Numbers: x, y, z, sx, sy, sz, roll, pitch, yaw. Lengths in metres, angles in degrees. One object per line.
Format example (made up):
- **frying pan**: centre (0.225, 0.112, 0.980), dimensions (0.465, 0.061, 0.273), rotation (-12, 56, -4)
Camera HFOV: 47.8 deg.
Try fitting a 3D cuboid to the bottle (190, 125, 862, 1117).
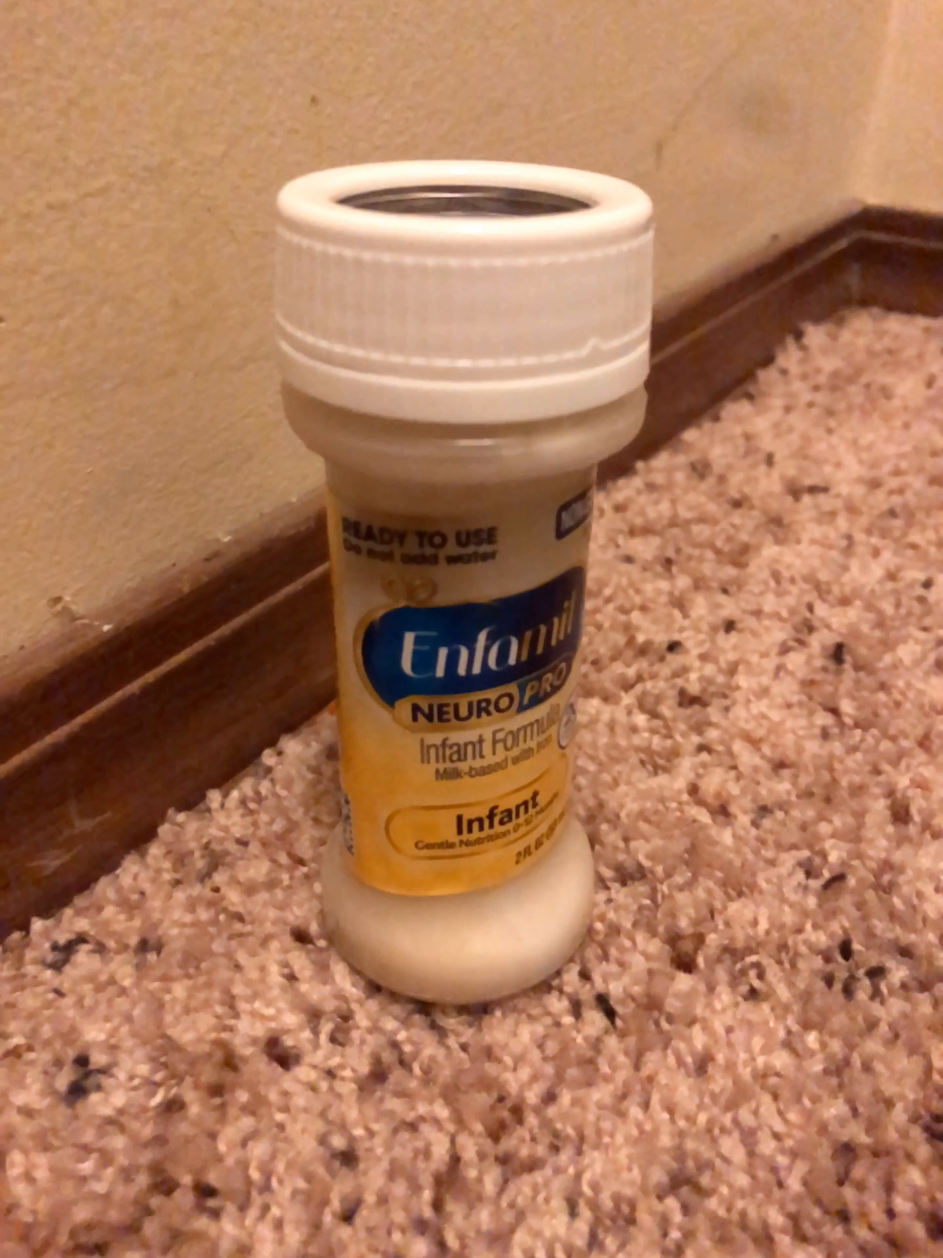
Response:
- **bottle**: centre (0.001, 0.000, 0.137), dimensions (0.050, 0.110, 0.050), rotation (2, 34, -1)
